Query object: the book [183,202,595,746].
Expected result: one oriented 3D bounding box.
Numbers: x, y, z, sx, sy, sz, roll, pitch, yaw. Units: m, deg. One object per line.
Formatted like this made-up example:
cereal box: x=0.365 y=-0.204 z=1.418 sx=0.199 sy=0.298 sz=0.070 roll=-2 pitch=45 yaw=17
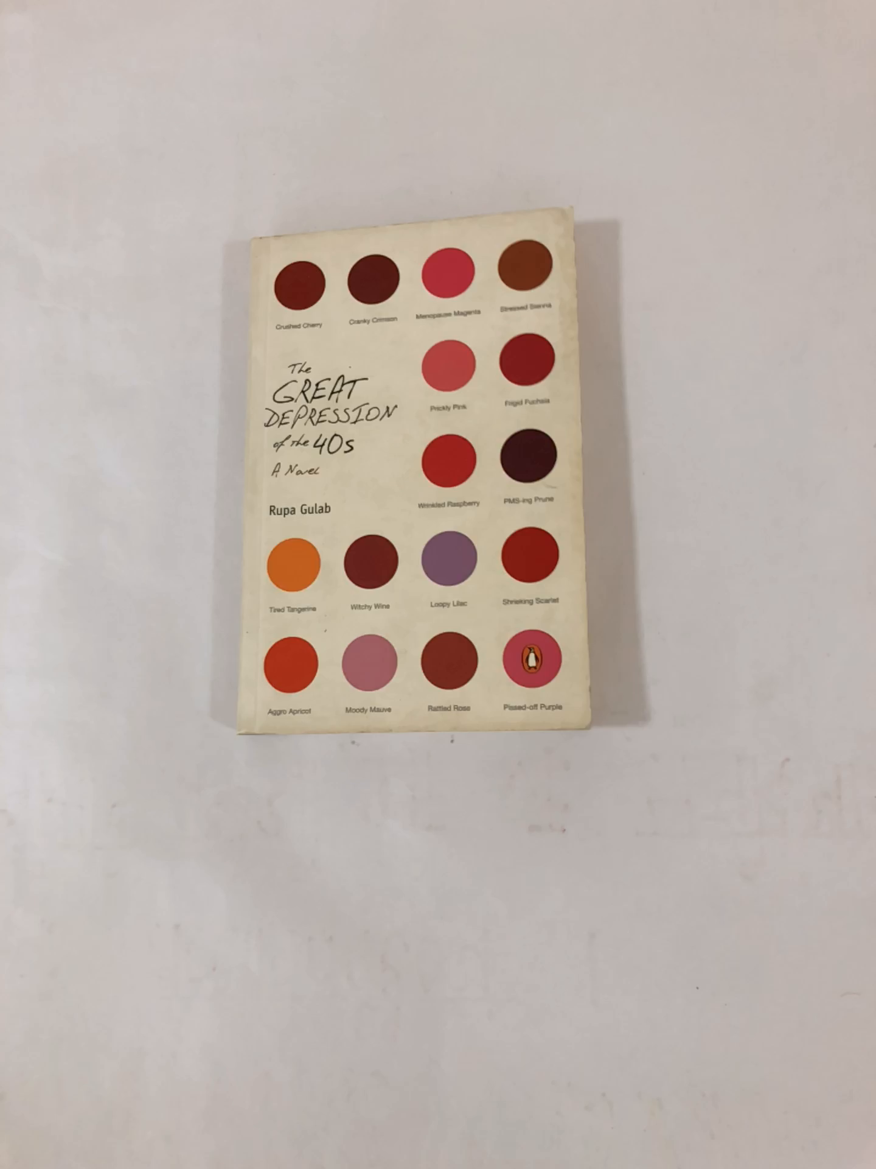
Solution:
book: x=-0.017 y=-0.038 z=0.358 sx=0.140 sy=0.030 sz=0.190 roll=-2 pitch=78 yaw=10
